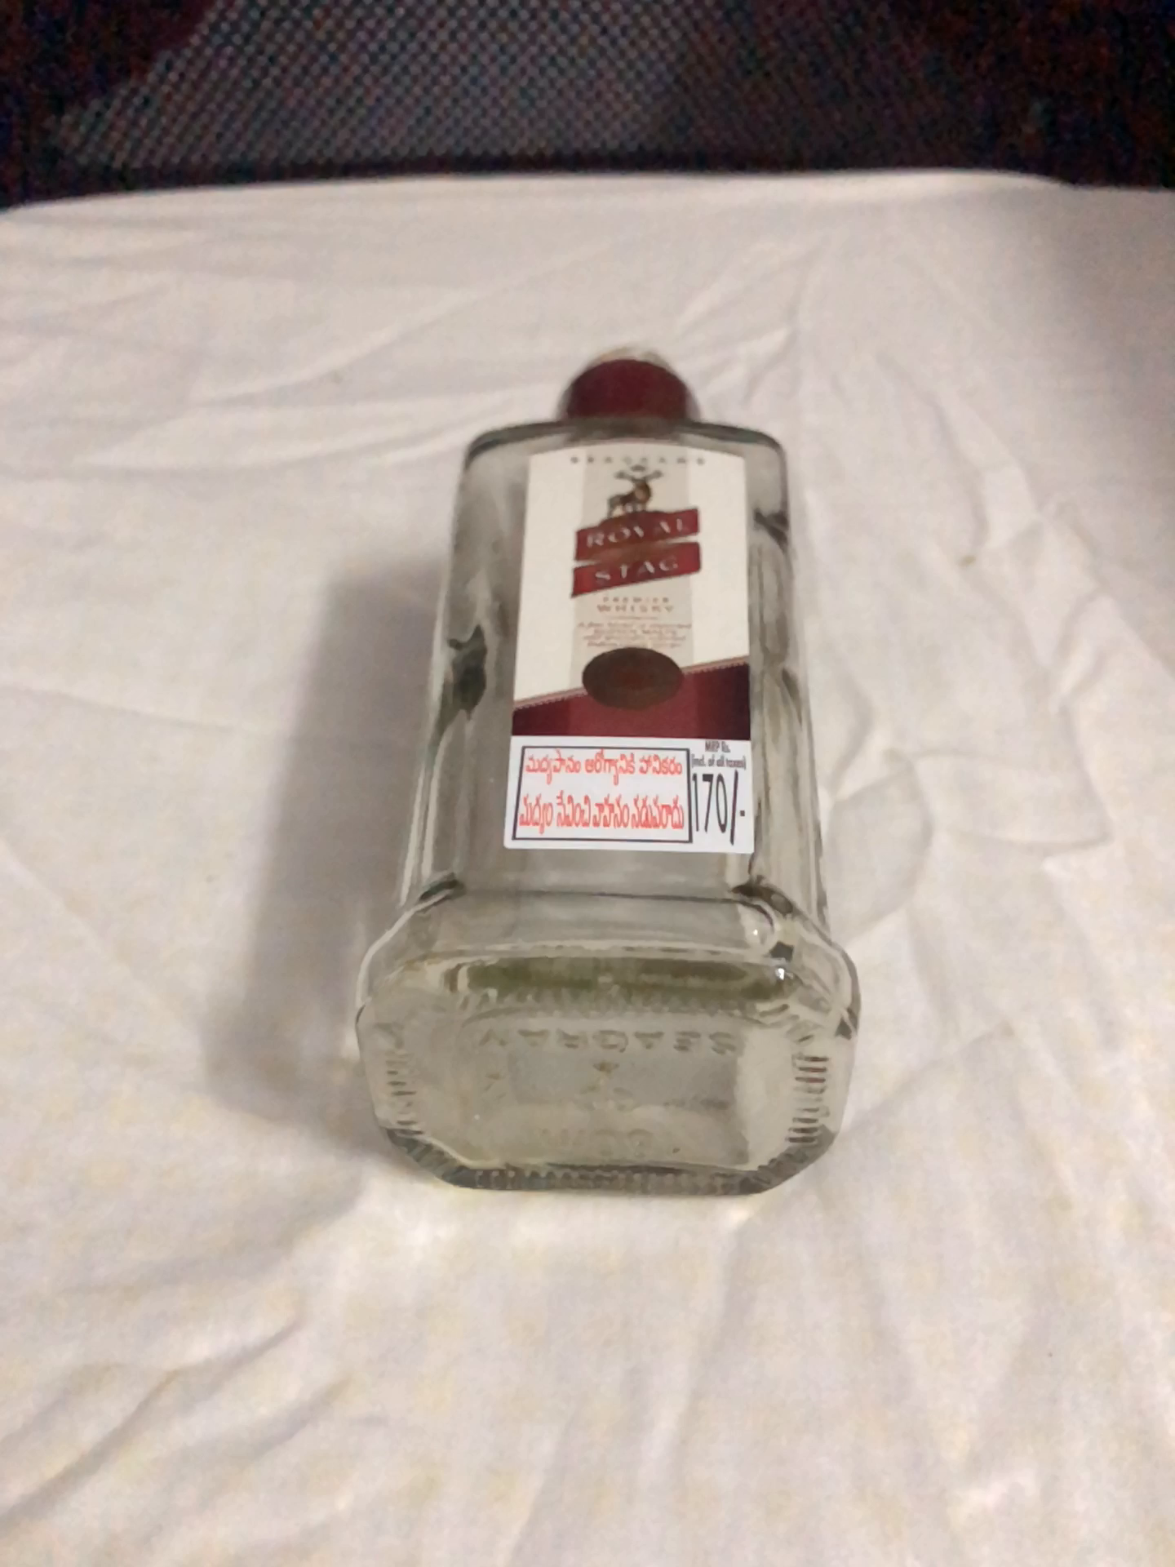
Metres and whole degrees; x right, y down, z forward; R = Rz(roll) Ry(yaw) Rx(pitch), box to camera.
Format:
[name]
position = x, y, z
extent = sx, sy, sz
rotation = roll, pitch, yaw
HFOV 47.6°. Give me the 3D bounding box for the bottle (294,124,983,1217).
[bottle]
position = 0.007, -0.035, 0.196
extent = 0.060, 0.050, 0.181
rotation = 2, 47, 1
